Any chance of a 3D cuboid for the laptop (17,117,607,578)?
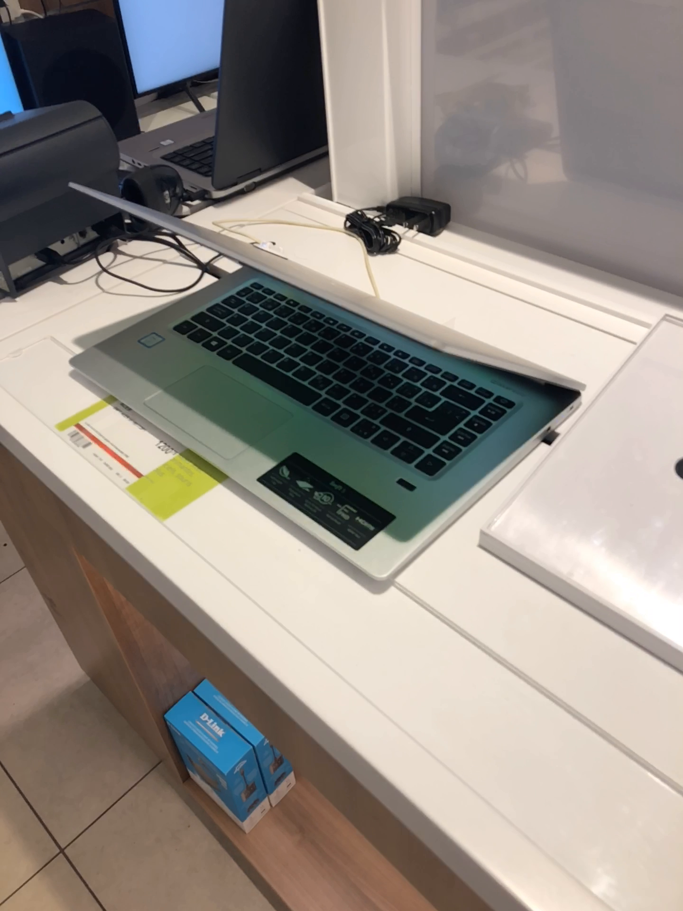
[{"bbox_3d":[-0.032,-0.111,0.545,0.348,0.132,0.217,31,54,33],"label":"laptop"}]
